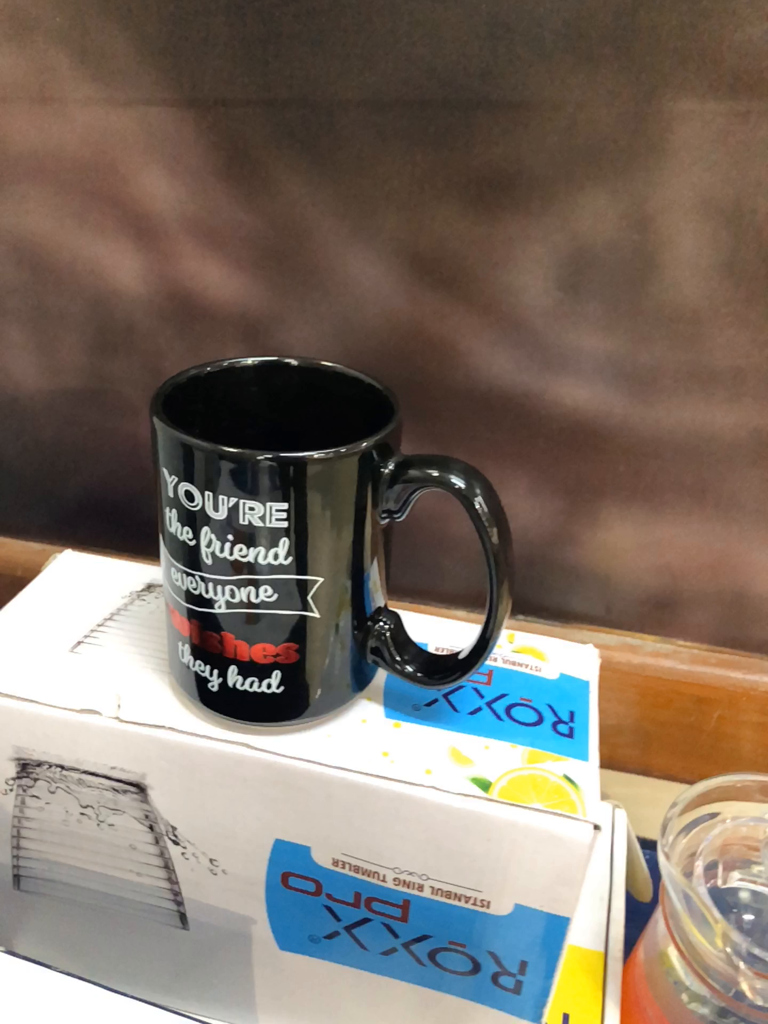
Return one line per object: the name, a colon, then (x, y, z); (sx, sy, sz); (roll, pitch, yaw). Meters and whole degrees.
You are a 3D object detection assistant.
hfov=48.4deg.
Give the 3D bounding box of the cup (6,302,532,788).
cup: (-0.028, 0.002, 0.279); (0.130, 0.109, 0.091); (9, 28, 15)
